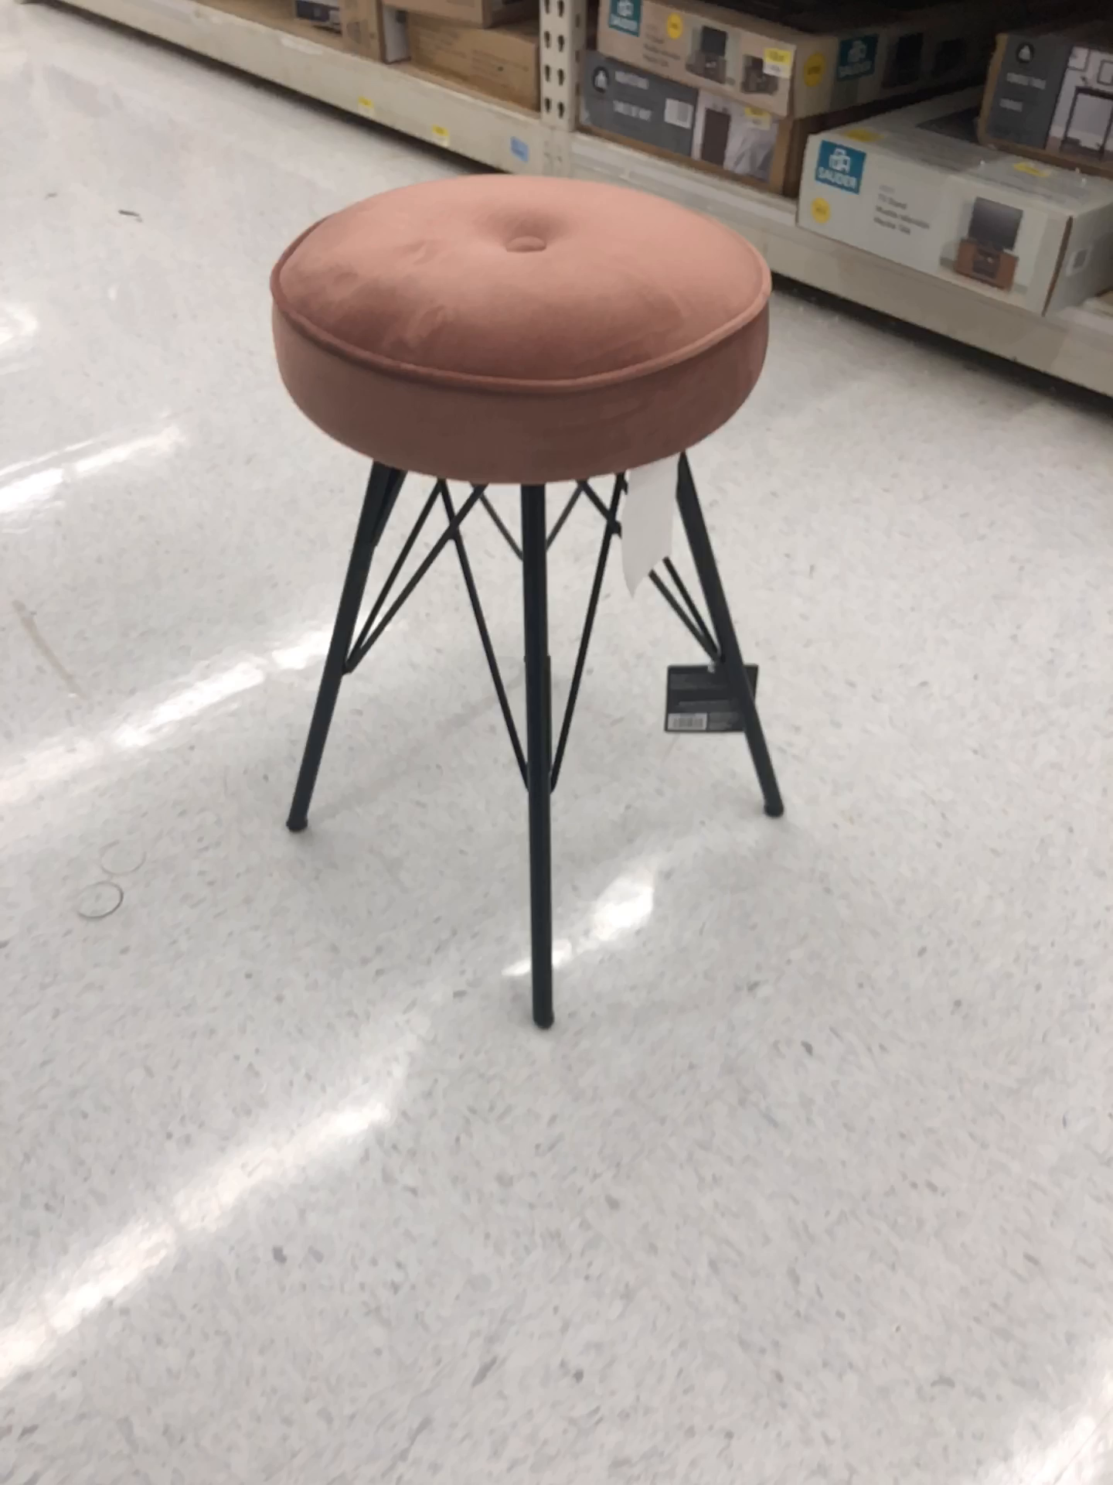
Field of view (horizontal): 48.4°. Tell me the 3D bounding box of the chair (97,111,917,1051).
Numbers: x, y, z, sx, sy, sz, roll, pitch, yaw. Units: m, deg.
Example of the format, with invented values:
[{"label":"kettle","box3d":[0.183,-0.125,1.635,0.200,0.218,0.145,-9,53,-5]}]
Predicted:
[{"label":"chair","box3d":[-0.026,-0.129,0.924,0.351,0.498,0.361,32,51,31]}]
